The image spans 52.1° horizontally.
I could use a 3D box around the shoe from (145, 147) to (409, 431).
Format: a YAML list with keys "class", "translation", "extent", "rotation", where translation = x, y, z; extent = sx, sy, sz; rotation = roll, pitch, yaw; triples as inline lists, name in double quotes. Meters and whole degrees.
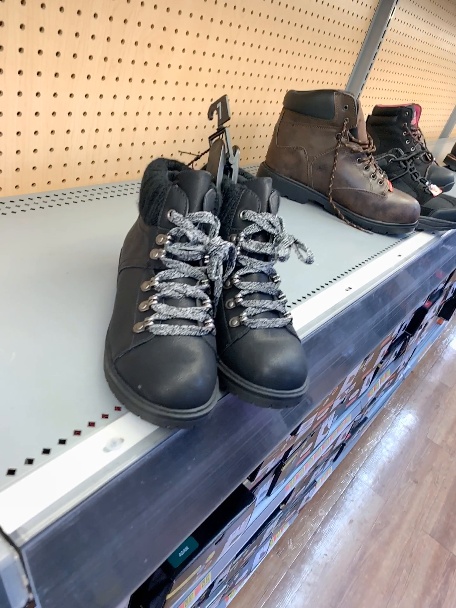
- class: "shoe"
  translation: [0.021, -0.028, 0.433]
  extent: [0.105, 0.137, 0.232]
  rotation: [-3, 39, -30]

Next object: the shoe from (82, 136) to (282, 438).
- class: "shoe"
  translation: [-0.050, -0.029, 0.403]
  extent: [0.104, 0.137, 0.237]
  rotation: [9, 34, -15]
